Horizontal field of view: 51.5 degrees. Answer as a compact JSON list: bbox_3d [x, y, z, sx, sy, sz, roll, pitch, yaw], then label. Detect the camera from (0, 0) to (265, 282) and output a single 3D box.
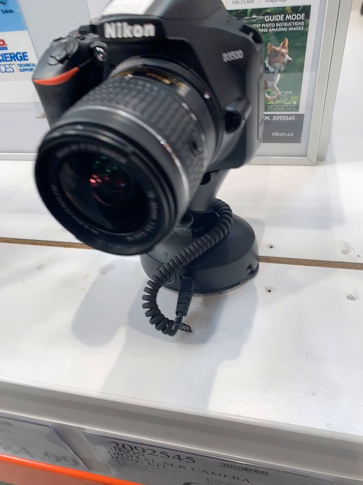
[{"bbox_3d":[-0.026,-0.066,0.186,0.116,0.099,0.121,6,43,16],"label":"camera"}]
